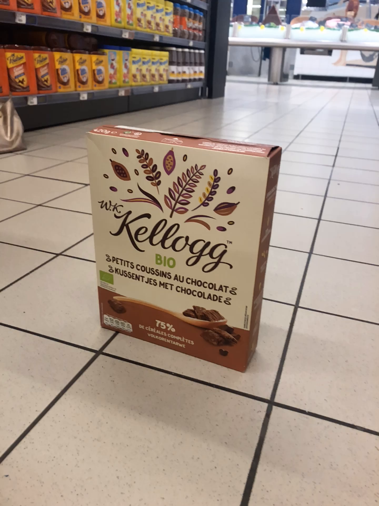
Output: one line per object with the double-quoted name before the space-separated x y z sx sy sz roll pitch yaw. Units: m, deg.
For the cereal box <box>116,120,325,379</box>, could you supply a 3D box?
"cereal box" 0.023 -0.005 0.460 0.200 0.249 0.050 13 28 22
